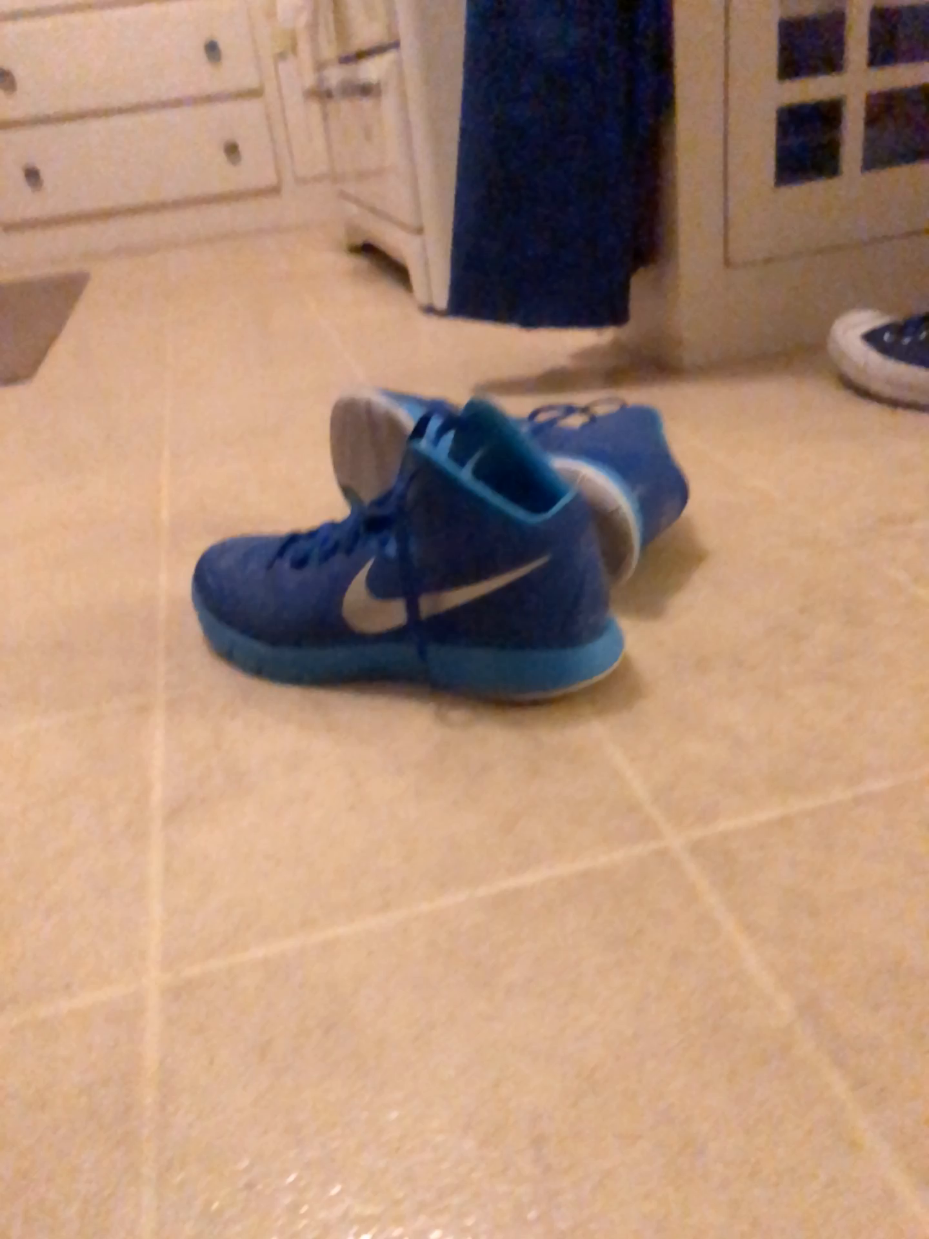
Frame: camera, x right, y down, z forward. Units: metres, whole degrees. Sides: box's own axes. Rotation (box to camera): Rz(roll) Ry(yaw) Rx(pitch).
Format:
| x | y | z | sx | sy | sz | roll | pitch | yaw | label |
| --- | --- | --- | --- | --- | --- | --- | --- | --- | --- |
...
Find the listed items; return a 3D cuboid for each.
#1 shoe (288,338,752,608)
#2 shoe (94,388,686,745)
| x | y | z | sx | sy | sz | roll | pitch | yaw | label |
| --- | --- | --- | --- | --- | --- | --- | --- | --- | --- |
| 0.036 | -0.120 | 0.735 | 0.282 | 0.119 | 0.160 | 15 | 30 | 36 | shoe |
| -0.040 | -0.045 | 0.603 | 0.310 | 0.144 | 0.121 | 7 | 31 | 26 | shoe |
